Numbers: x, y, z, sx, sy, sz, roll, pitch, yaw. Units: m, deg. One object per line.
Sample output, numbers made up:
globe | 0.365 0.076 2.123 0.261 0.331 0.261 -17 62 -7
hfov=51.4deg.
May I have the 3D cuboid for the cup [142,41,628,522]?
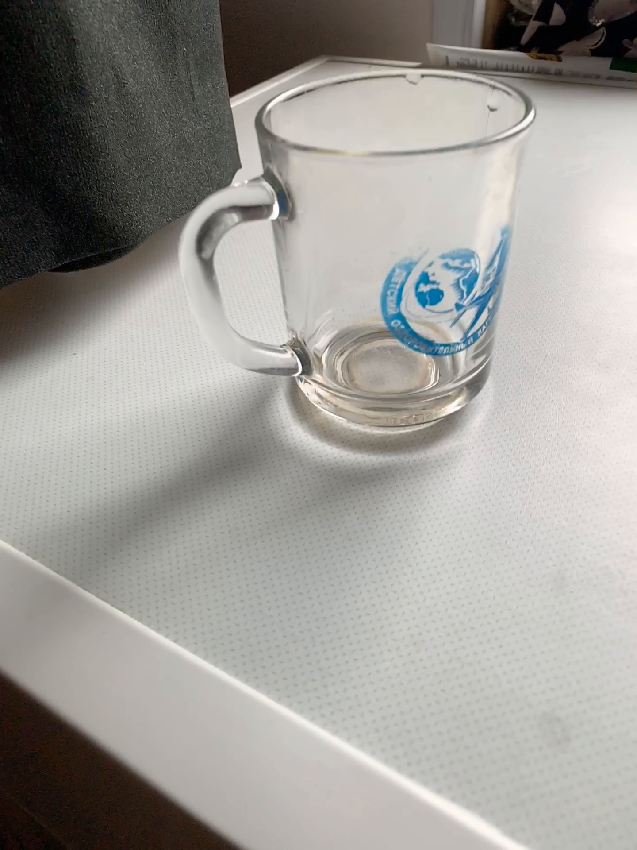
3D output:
cup | 0.013 -0.042 0.182 0.090 0.089 0.071 -17 43 -13
